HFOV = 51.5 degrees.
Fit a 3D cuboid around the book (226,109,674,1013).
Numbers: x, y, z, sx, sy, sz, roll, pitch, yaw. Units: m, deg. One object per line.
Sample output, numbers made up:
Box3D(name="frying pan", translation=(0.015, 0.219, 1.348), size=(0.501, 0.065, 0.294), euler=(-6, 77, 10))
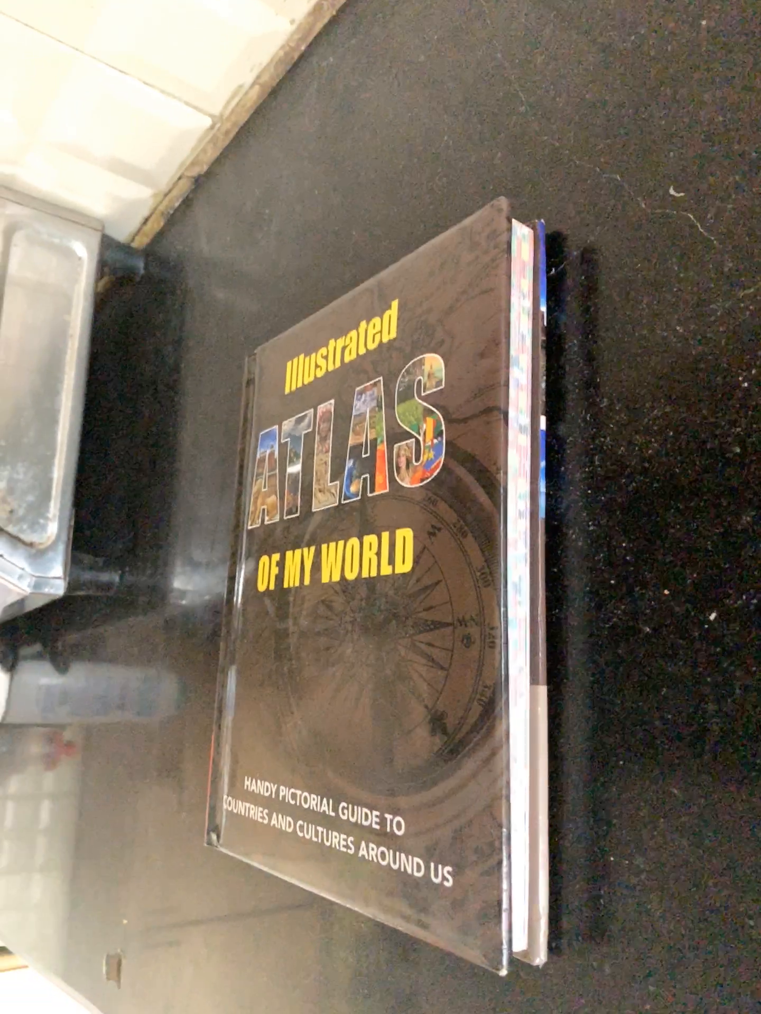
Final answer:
Box3D(name="book", translation=(0.012, 0.018, 0.320), size=(0.201, 0.040, 0.270), euler=(-14, 69, 52))
